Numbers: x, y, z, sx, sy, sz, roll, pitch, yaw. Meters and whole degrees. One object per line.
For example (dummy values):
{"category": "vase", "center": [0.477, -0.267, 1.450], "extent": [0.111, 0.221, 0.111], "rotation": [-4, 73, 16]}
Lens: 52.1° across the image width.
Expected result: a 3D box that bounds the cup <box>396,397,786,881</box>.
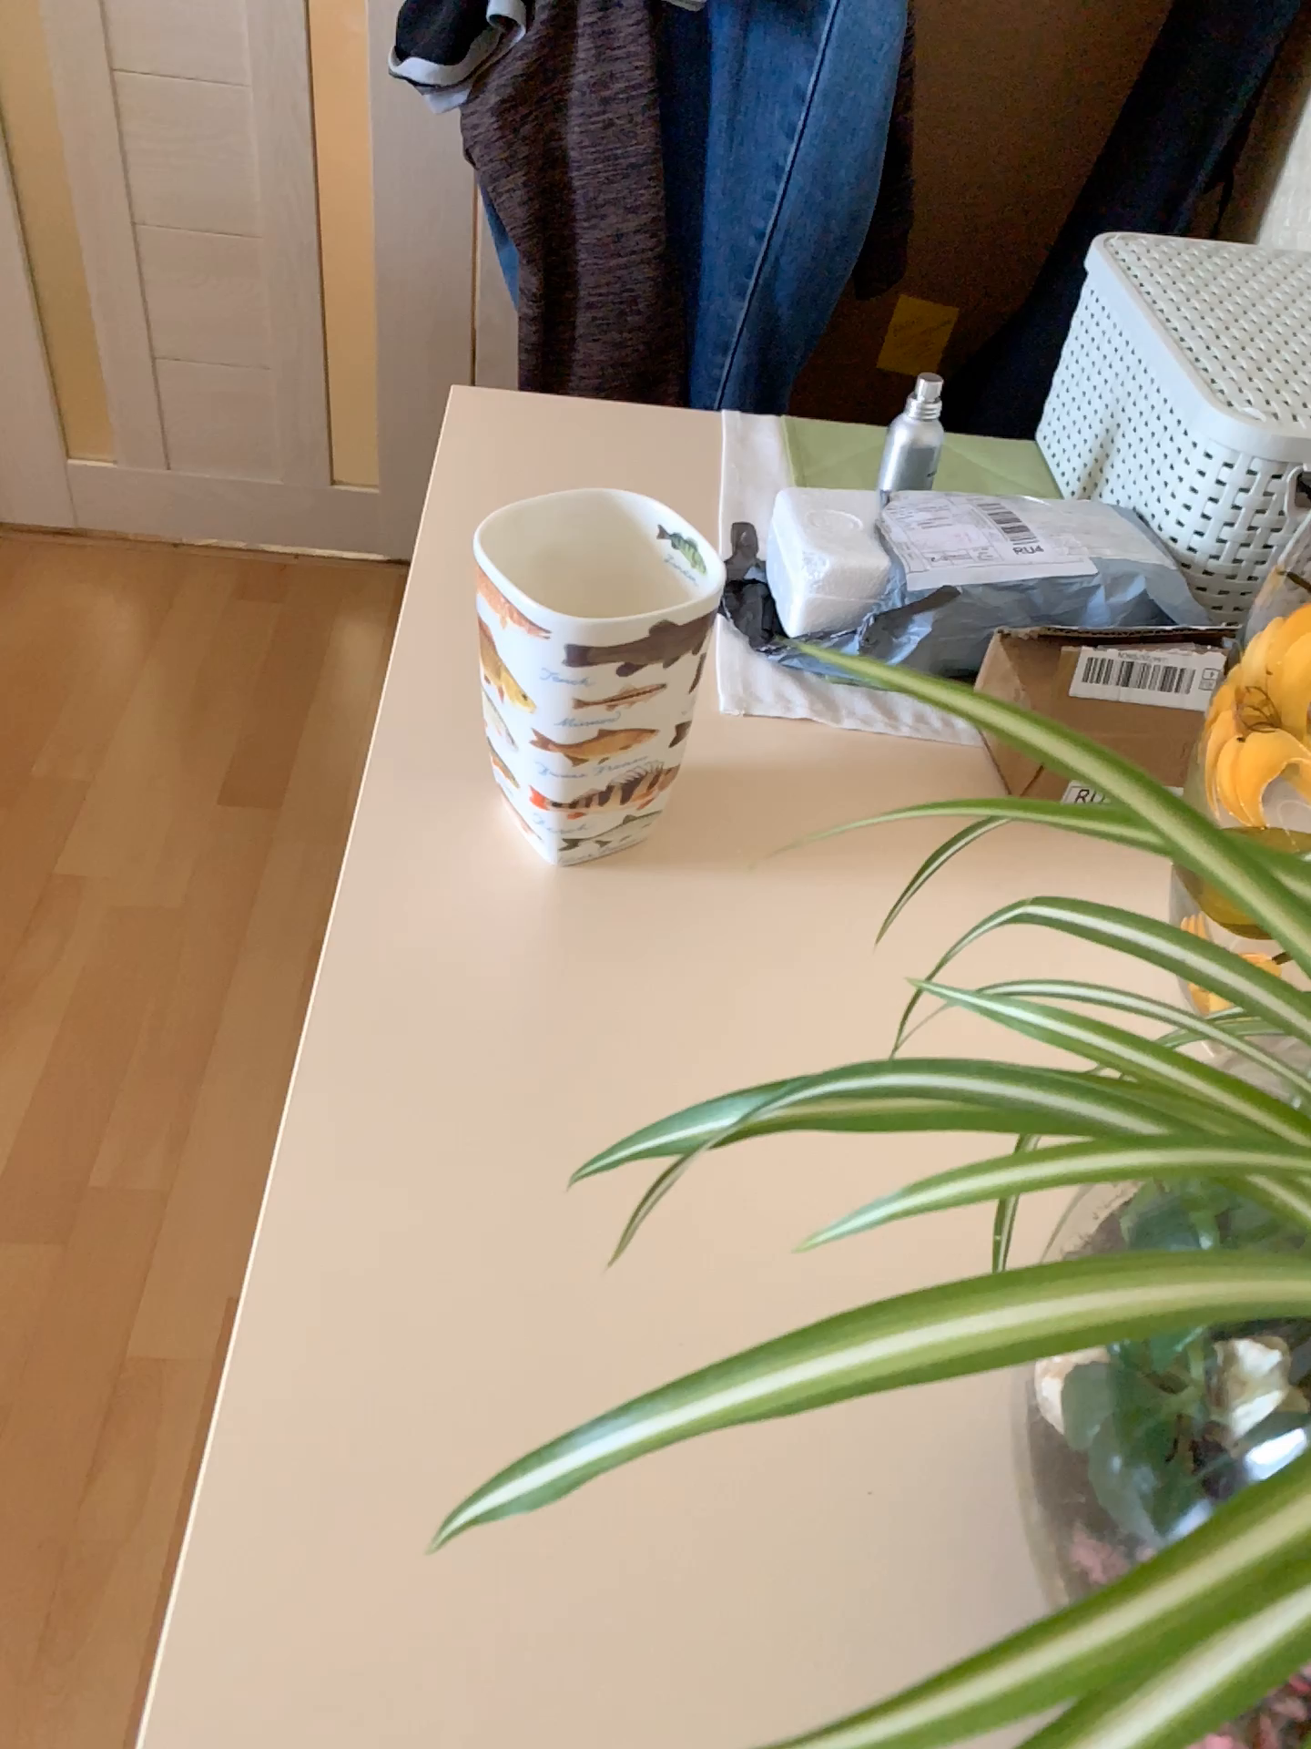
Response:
{"category": "cup", "center": [-0.035, -0.102, 0.564], "extent": [0.100, 0.129, 0.141], "rotation": [-16, 49, -24]}
